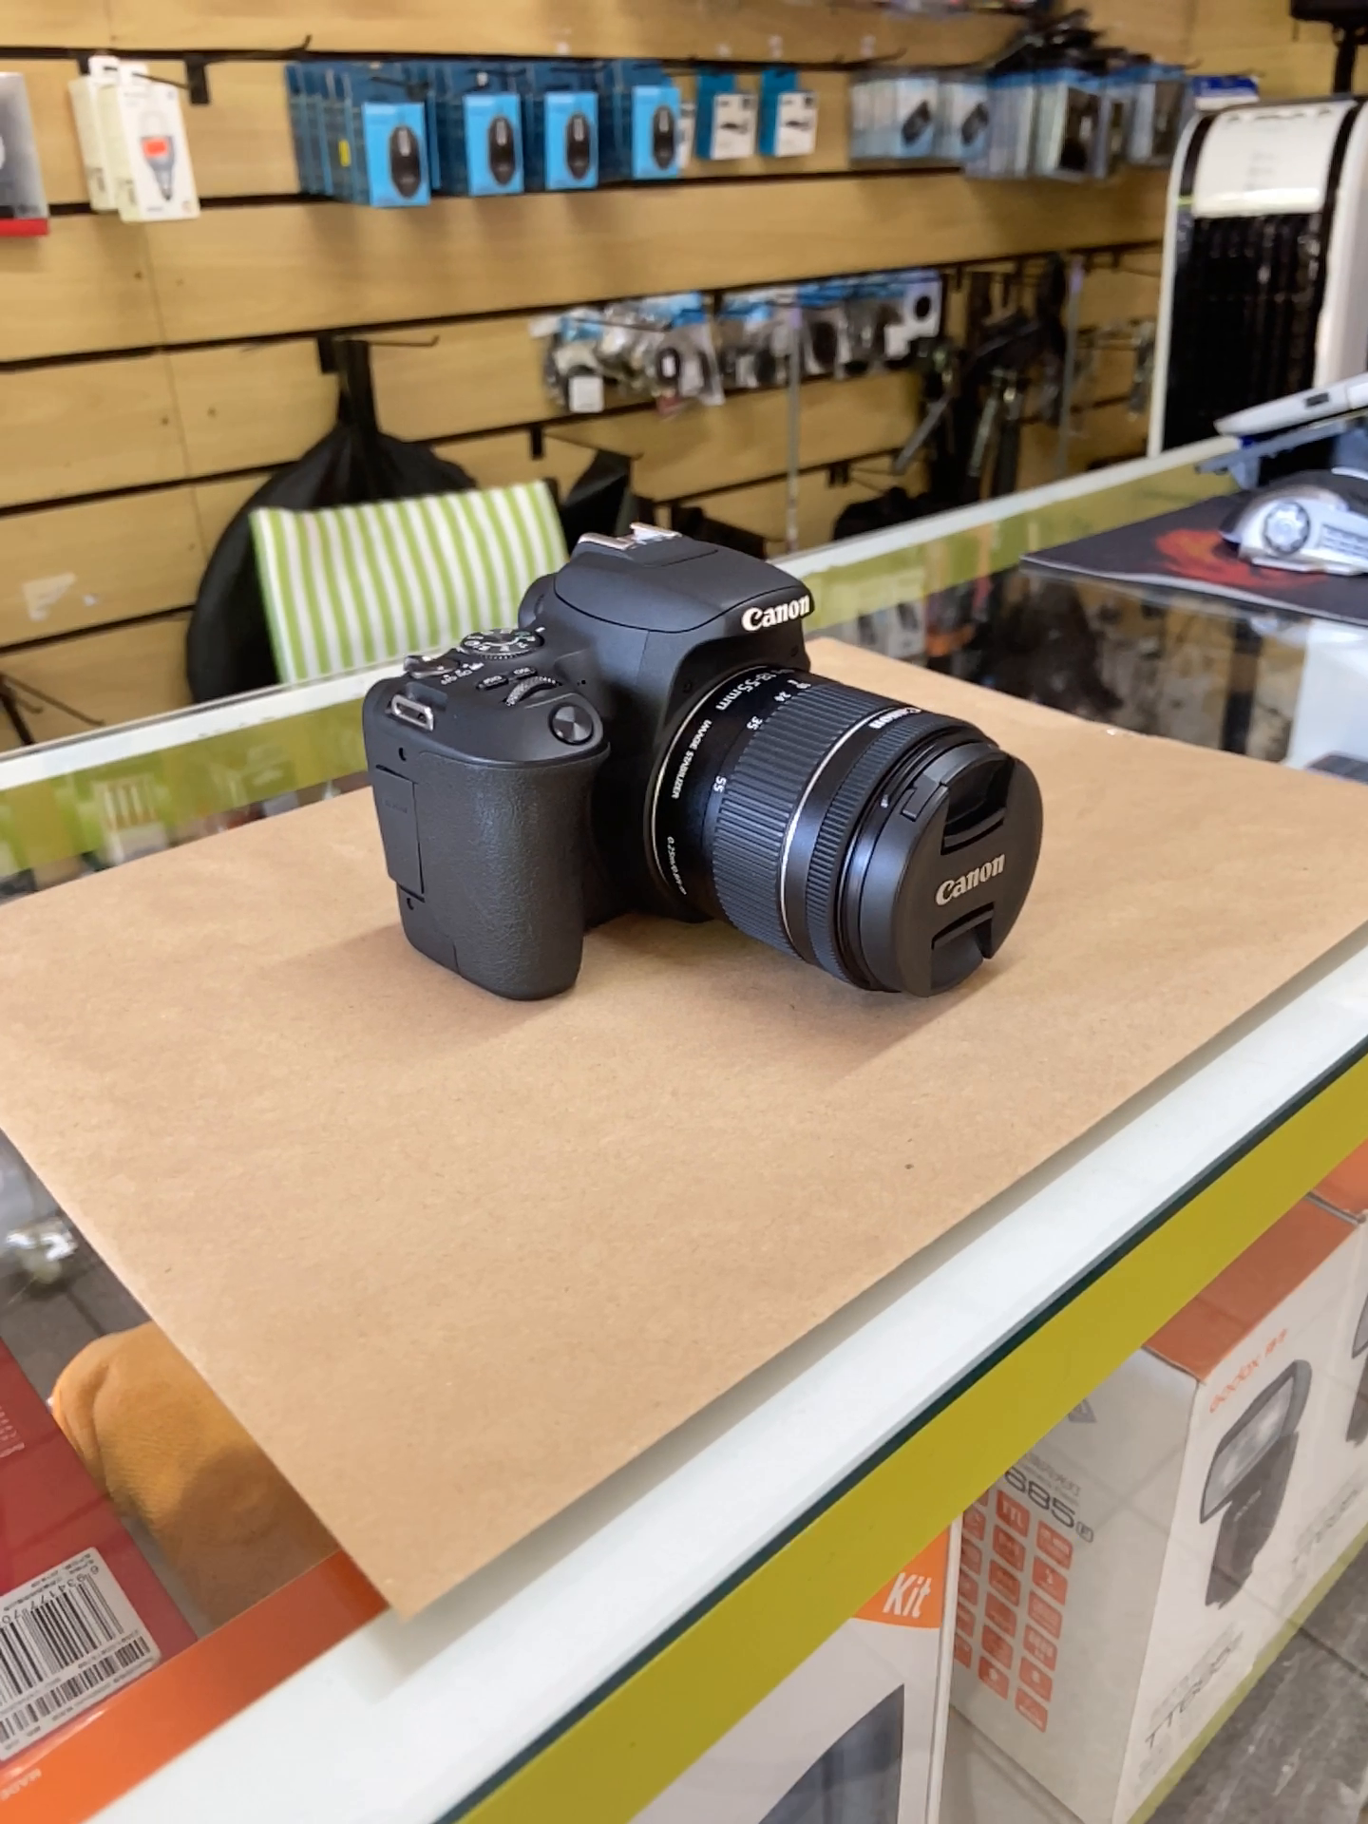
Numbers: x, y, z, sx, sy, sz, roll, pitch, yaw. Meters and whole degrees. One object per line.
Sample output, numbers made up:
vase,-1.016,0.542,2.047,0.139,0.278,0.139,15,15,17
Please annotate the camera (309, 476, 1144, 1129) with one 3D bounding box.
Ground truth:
camera,0.013,-0.041,0.341,0.130,0.089,0.141,21,35,38
